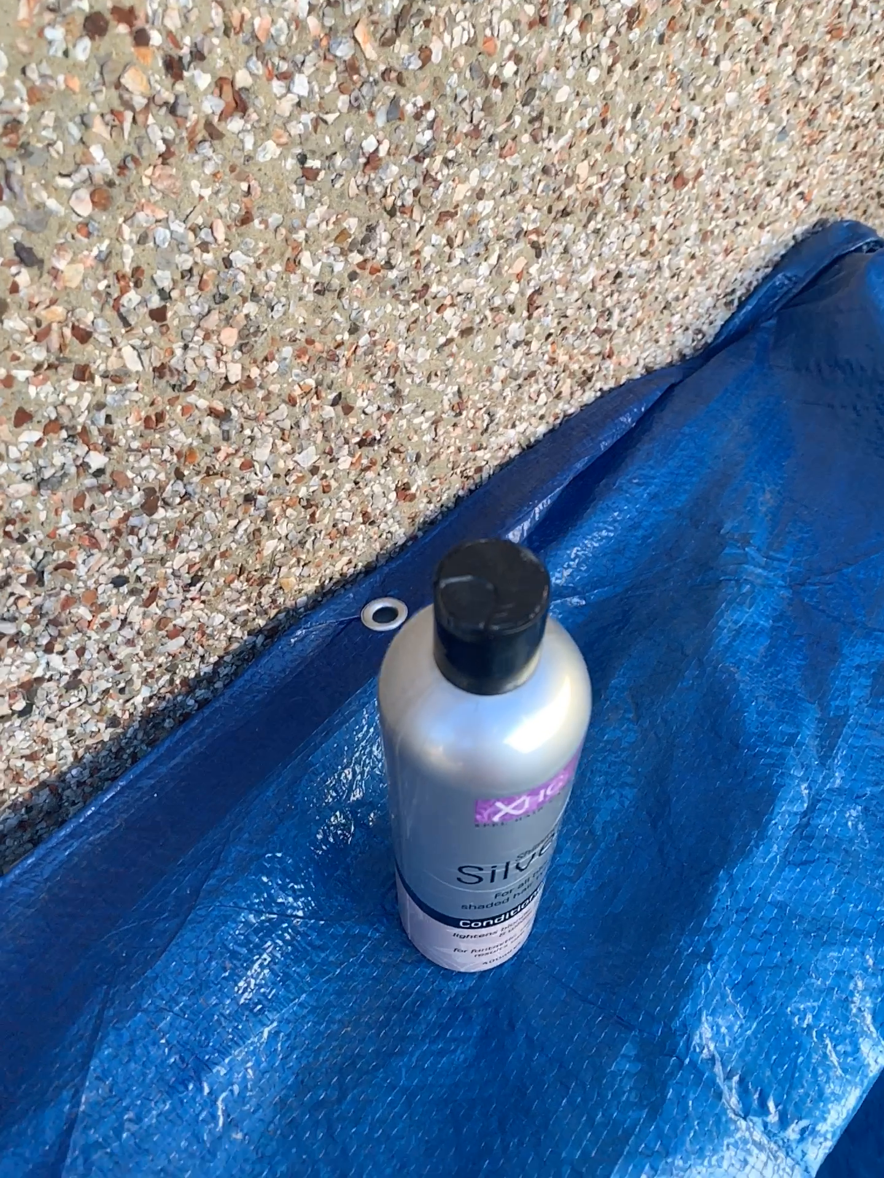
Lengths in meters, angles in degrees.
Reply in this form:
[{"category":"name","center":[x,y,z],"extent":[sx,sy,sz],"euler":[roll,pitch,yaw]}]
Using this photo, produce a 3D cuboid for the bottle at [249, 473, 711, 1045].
[{"category":"bottle","center":[0.007,0.066,0.259],"extent":[0.070,0.198,0.060],"euler":[-24,58,-16]}]
